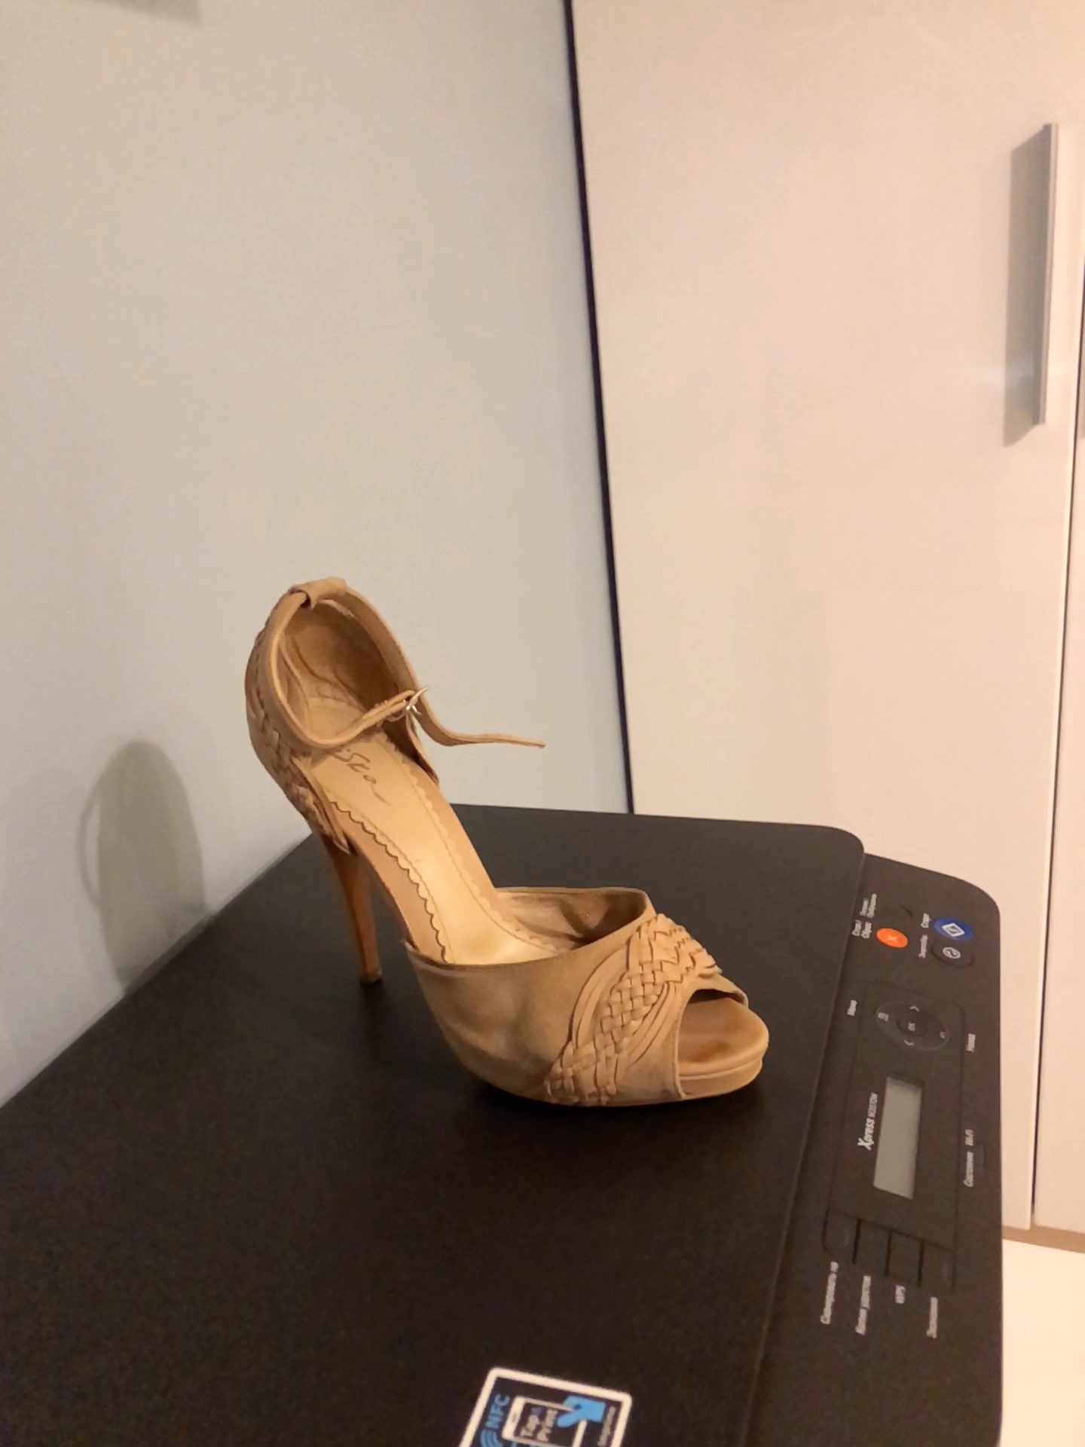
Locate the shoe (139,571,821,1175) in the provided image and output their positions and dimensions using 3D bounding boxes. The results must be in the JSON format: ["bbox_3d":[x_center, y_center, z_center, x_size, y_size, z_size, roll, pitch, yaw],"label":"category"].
[{"bbox_3d":[-0.021,0.038,0.436,0.220,0.159,0.090,7,24,31],"label":"shoe"}]
